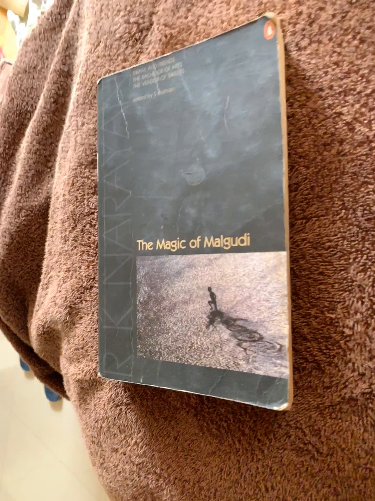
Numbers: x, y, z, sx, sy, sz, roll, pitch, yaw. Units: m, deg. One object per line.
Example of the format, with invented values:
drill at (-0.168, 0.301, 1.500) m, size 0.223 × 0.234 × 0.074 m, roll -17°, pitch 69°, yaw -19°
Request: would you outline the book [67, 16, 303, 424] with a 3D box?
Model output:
book at (-0.010, -0.014, 0.231) m, size 0.142 × 0.030 × 0.193 m, roll -3°, pitch 87°, yaw 30°
